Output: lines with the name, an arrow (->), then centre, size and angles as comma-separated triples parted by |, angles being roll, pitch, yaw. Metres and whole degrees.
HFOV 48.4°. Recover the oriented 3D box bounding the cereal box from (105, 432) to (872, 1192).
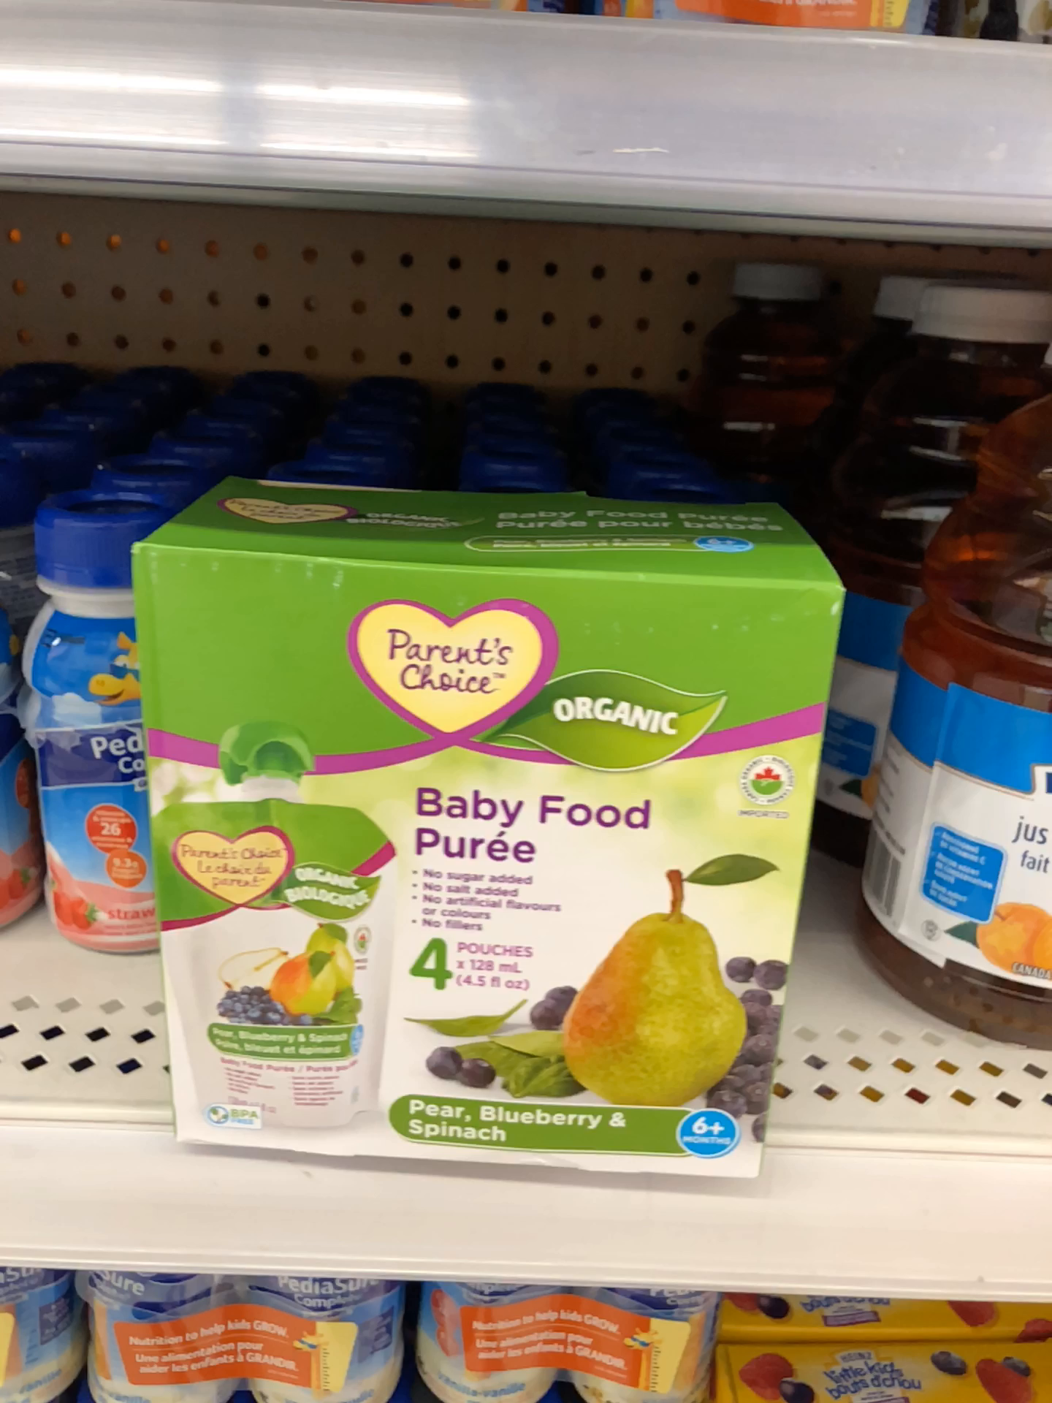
cereal box -> -0.012, 0.025, 0.300 | 0.150, 0.159, 0.091 | 4, 22, -1
